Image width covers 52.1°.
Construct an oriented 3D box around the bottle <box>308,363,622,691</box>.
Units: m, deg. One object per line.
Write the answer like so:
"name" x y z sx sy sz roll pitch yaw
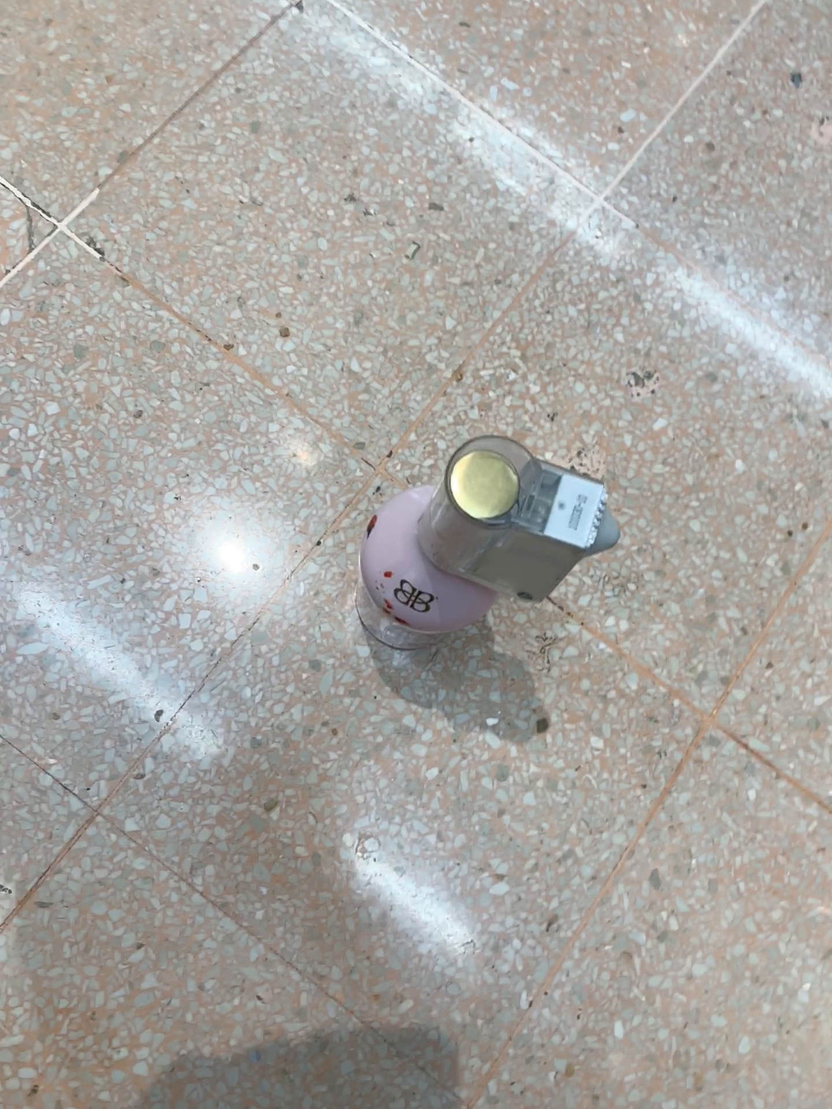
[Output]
"bottle" 0.006 0.007 0.460 0.103 0.255 0.073 31 76 1
